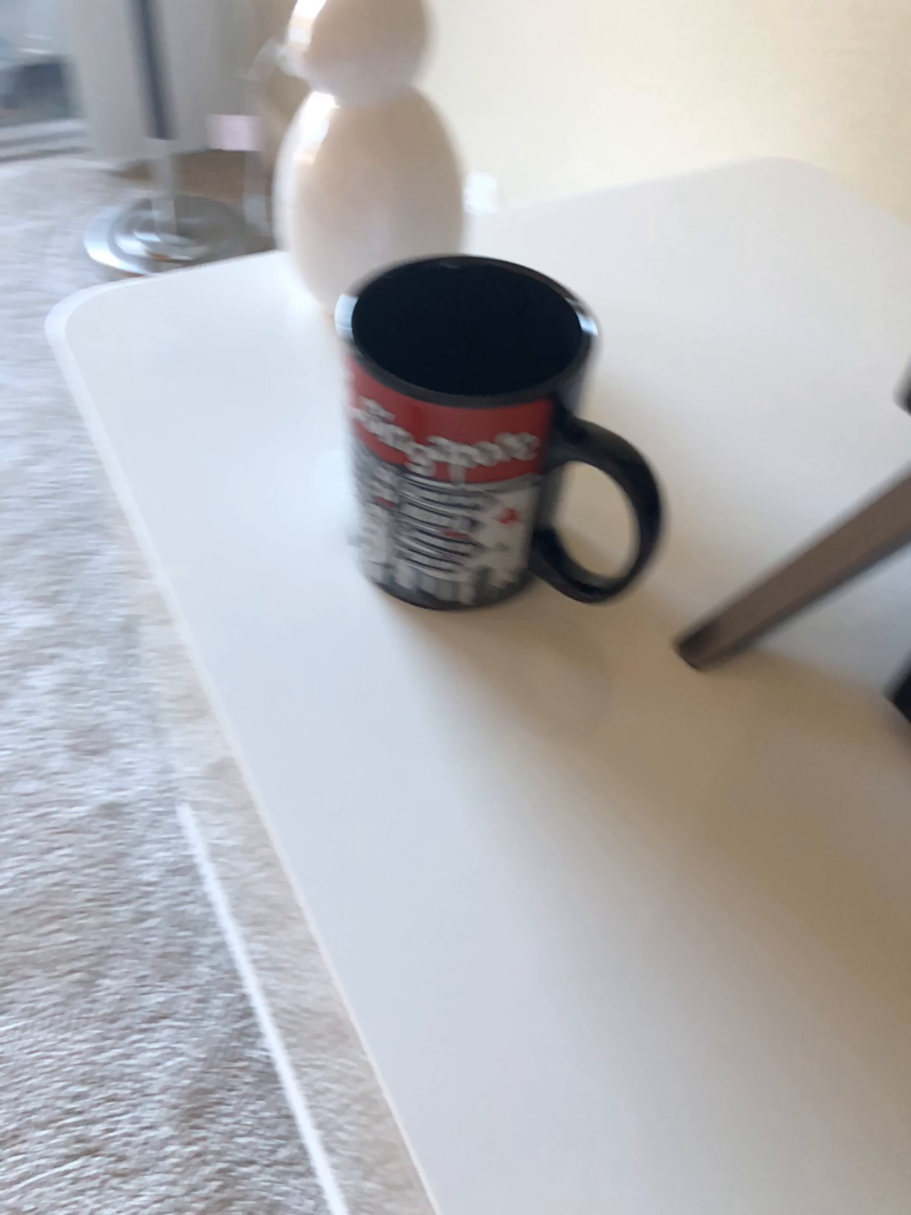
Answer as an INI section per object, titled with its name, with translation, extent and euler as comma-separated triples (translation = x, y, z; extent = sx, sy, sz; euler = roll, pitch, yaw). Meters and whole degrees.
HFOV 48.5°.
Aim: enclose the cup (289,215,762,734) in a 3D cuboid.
[cup]
translation = 0.017, -0.047, 0.346
extent = 0.120, 0.110, 0.080
euler = 35, 54, 23
